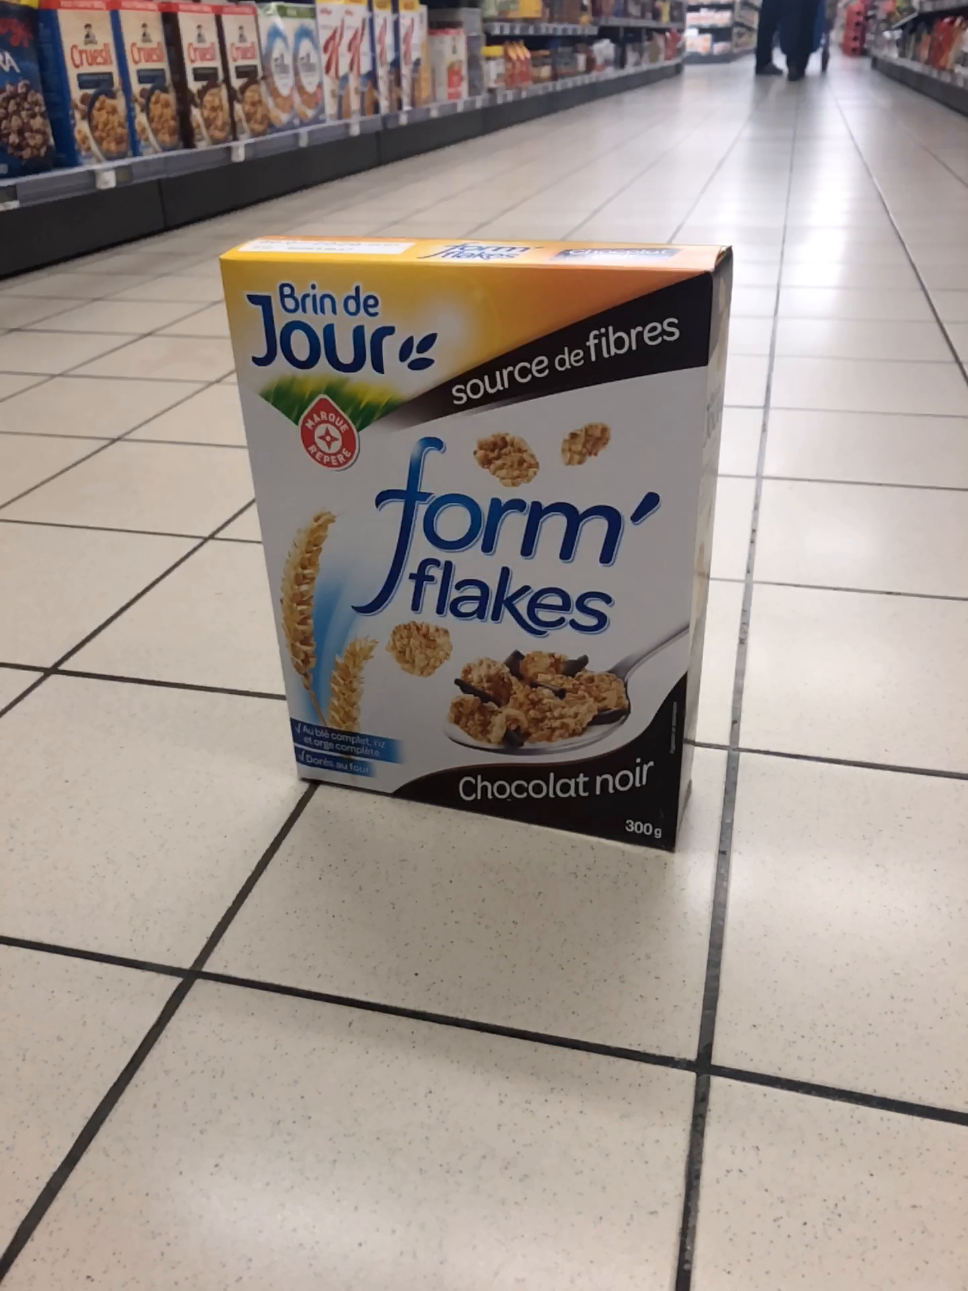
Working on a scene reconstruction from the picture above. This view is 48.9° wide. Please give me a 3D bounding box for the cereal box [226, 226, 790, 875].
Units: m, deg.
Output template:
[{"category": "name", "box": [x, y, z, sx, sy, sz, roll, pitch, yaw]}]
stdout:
[{"category": "cereal box", "box": [0.012, -0.041, 0.458, 0.200, 0.249, 0.070, 8, 30, 18]}]
